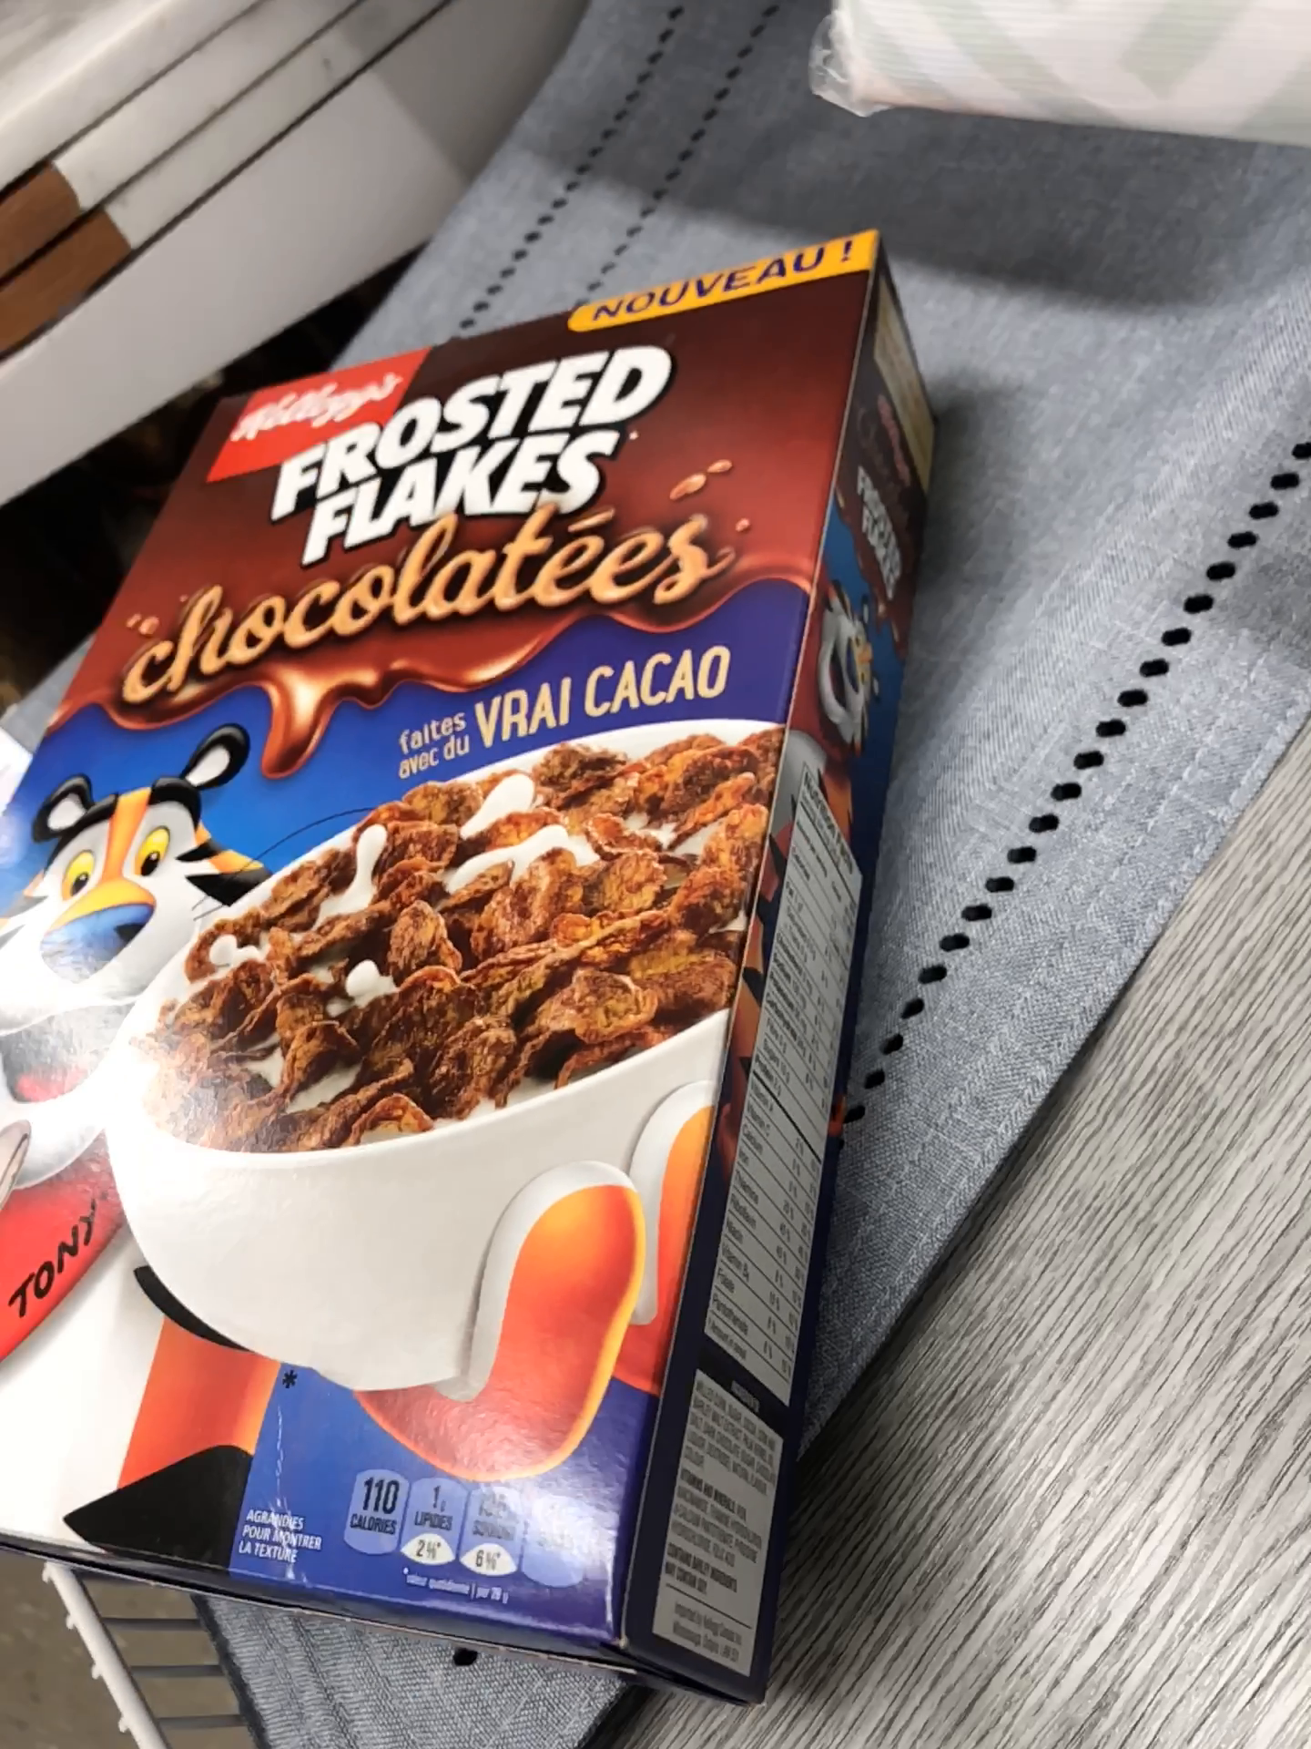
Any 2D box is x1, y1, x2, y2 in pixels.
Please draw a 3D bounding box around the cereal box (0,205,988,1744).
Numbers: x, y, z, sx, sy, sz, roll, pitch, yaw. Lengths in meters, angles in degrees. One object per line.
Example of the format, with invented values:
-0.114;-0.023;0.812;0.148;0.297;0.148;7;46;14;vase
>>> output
-0.049;-0.004;0.335;0.210;0.070;0.311;-4;53;26;cereal box
